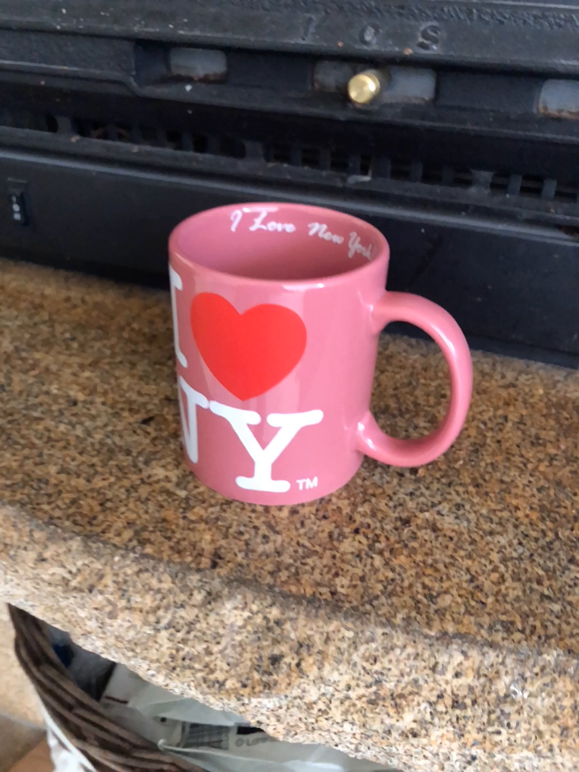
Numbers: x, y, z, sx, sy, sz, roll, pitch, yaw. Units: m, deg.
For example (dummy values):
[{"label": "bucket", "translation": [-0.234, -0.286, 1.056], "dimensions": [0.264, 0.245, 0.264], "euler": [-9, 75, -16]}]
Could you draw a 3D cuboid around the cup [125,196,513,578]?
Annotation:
[{"label": "cup", "translation": [0.016, -0.007, 0.260], "dimensions": [0.120, 0.099, 0.091], "euler": [11, 34, 13]}]
